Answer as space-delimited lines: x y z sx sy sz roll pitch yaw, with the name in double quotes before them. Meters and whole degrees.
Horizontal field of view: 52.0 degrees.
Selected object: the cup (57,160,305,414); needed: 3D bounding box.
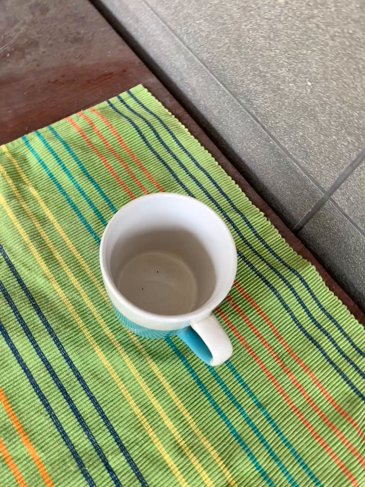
"cup" -0.009 0.036 0.291 0.100 0.100 0.140 -33 73 -23
